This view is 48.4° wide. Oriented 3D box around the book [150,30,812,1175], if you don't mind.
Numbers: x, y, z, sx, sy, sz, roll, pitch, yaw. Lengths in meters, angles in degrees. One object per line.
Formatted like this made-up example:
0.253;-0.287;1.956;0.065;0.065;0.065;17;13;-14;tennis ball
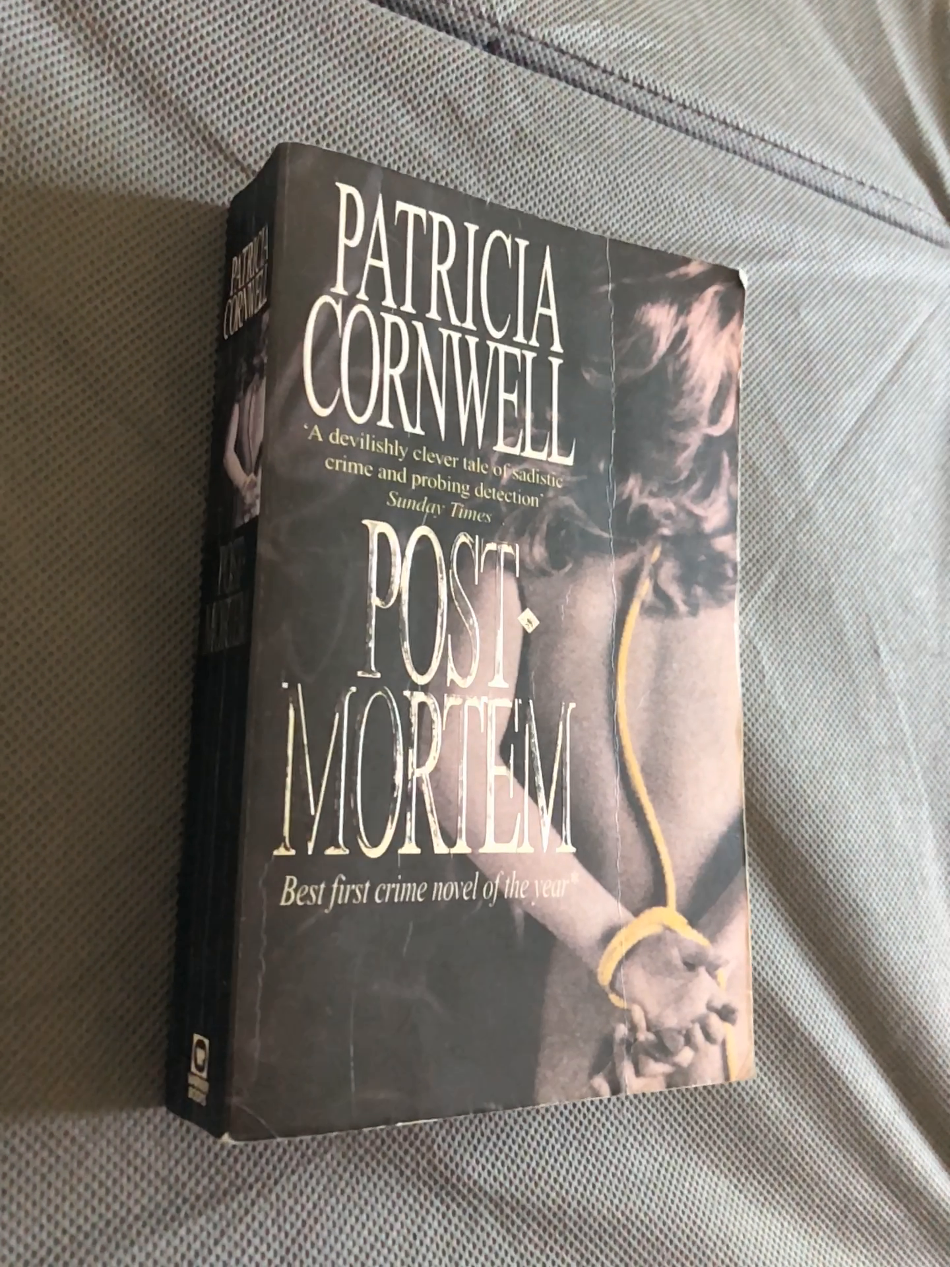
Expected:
0.003;-0.005;0.210;0.110;0.050;0.180;7;77;-29;book
